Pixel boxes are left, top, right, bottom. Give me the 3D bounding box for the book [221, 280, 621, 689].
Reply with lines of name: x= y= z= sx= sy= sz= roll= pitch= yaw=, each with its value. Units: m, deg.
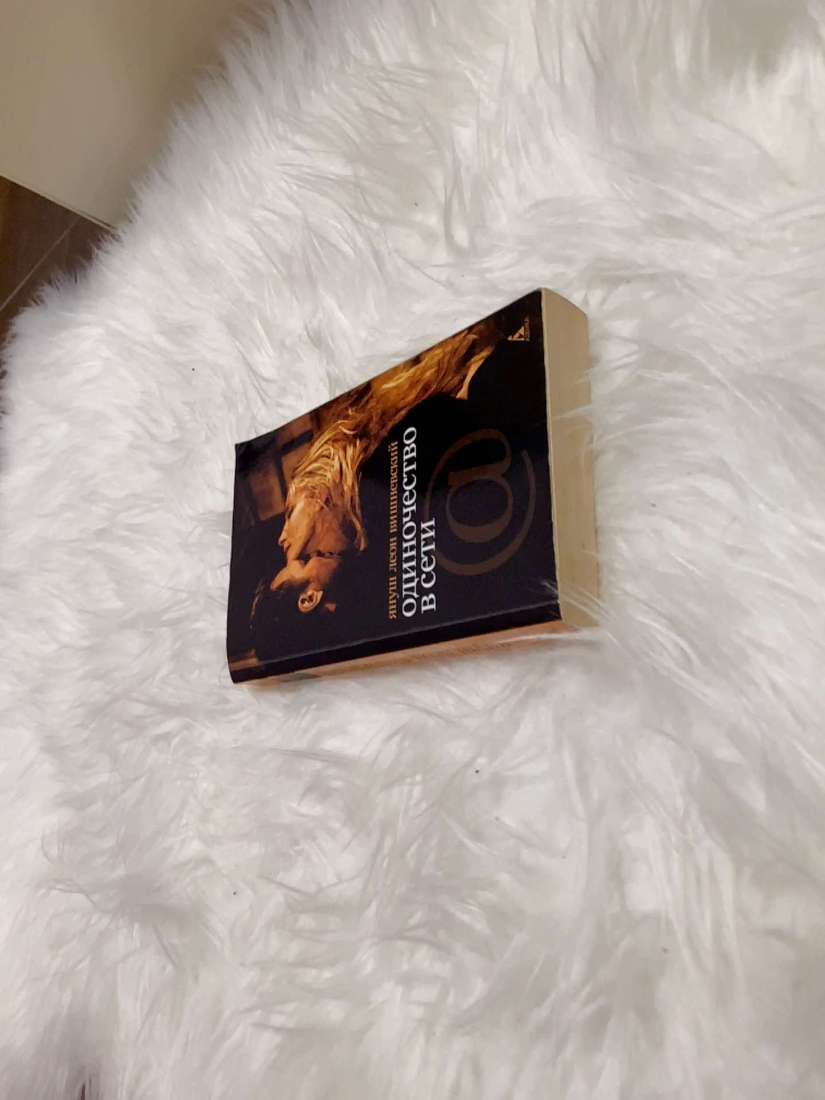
book: x=-0.009 y=-0.013 z=0.332 sx=0.177 sy=0.030 sz=0.113 roll=-17 pitch=66 yaw=41
